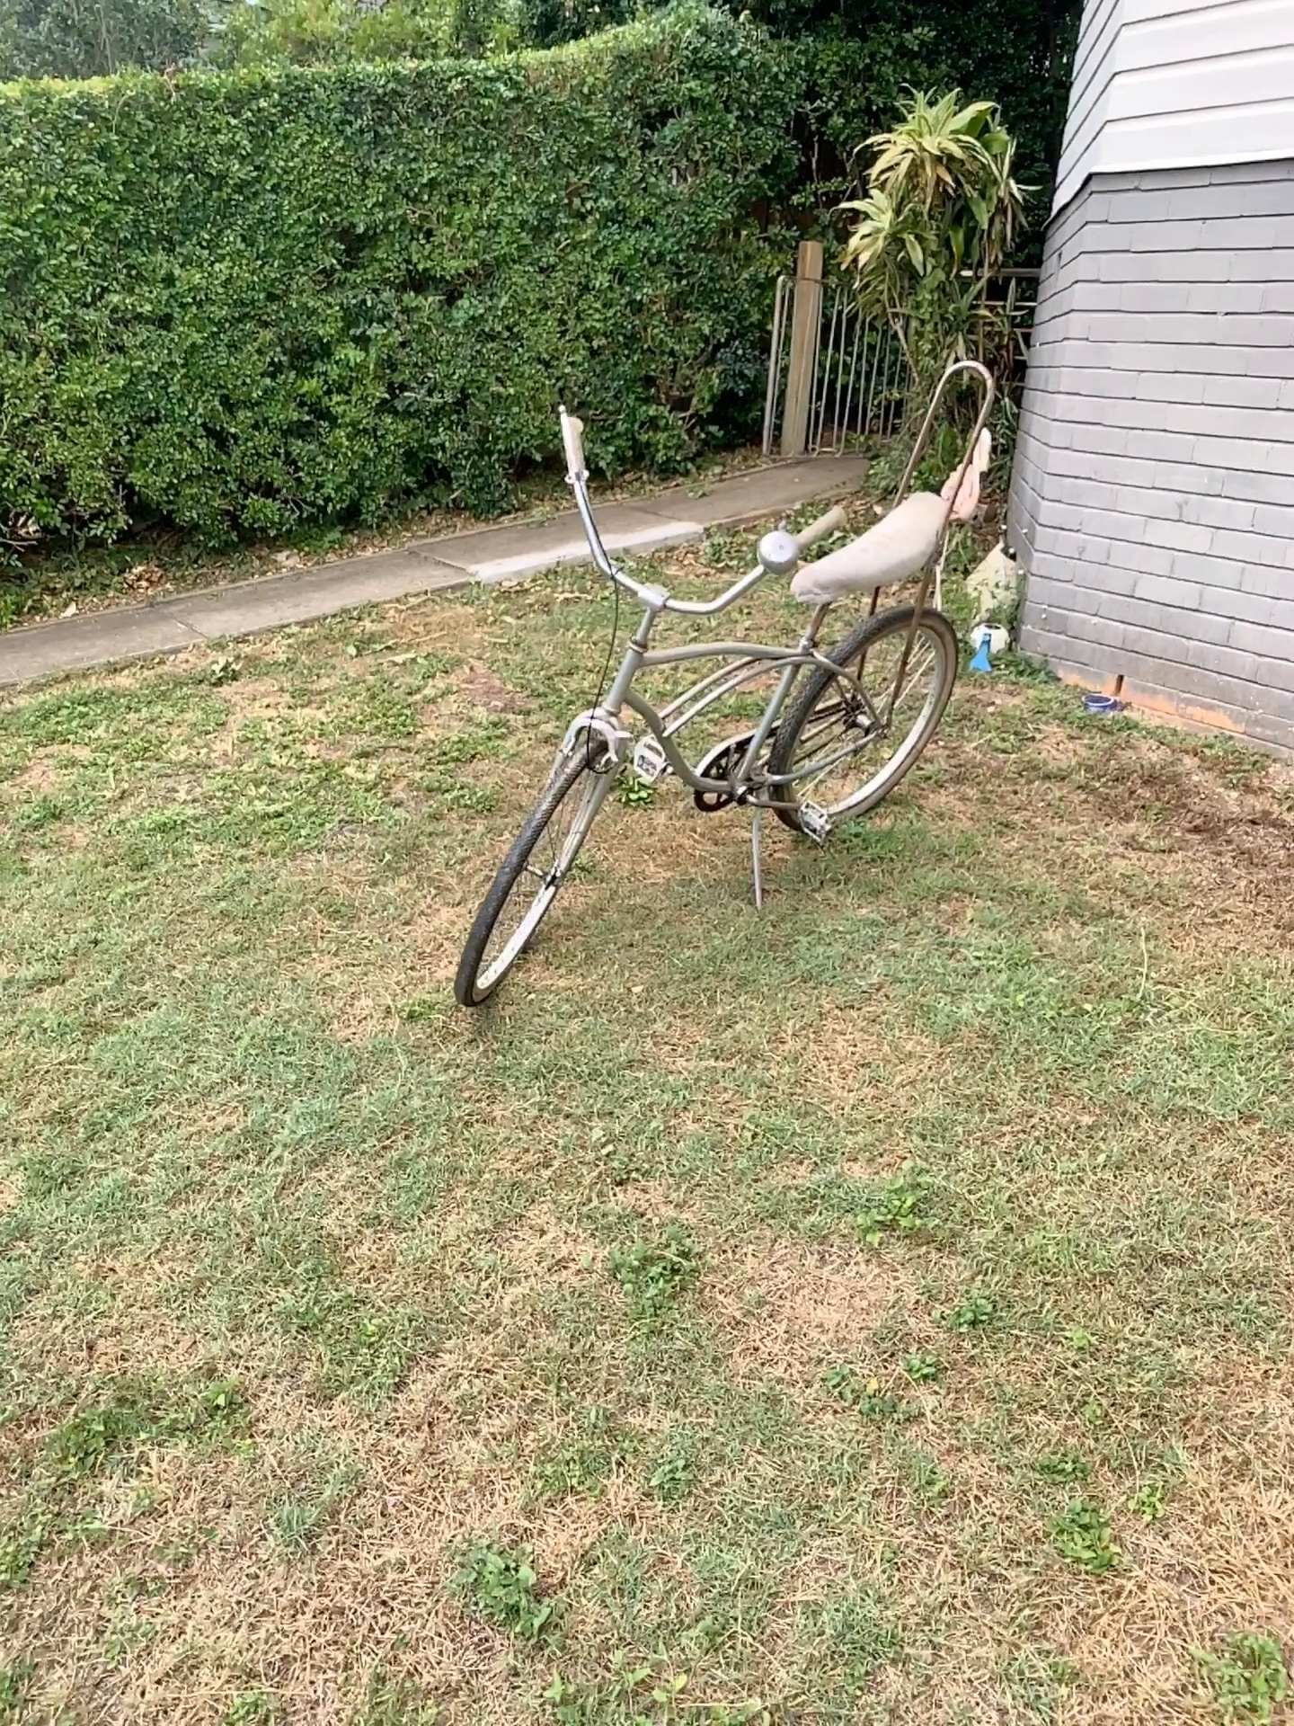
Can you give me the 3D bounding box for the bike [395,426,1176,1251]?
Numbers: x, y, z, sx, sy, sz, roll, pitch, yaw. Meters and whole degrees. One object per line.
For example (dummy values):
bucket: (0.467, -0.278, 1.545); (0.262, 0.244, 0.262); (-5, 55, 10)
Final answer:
bike: (0.320, -0.230, 2.925); (0.802, 0.990, 1.603); (22, 36, 40)
